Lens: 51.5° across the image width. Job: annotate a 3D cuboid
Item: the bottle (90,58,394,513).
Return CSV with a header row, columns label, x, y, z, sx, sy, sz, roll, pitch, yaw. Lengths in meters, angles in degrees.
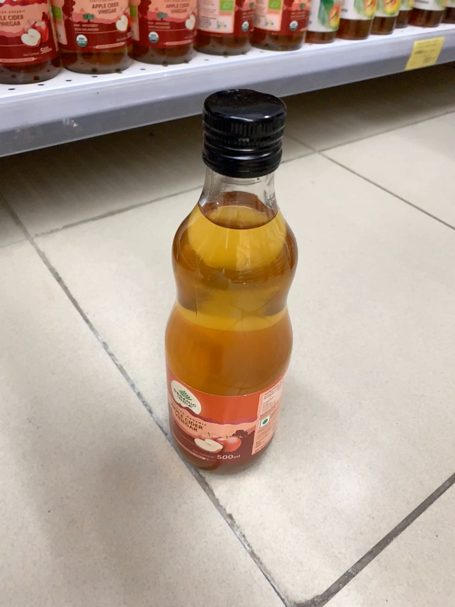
label,x,y,z,sx,sy,sz,roll,pitch,yaw
bottle,0.003,0.004,0.243,0.080,0.209,0.080,2,41,-2
